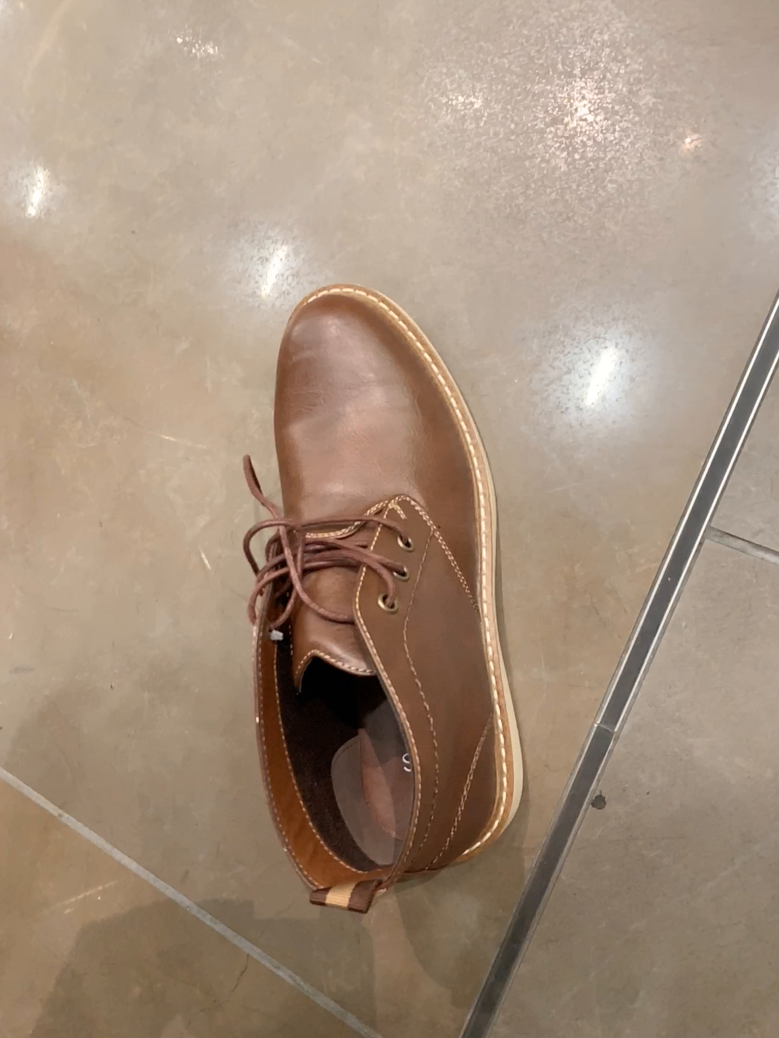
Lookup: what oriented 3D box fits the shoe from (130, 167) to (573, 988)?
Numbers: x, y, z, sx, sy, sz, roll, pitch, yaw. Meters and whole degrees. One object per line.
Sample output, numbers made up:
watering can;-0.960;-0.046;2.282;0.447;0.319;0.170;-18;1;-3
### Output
shoe;-0.013;0.024;0.358;0.107;0.120;0.295;-14;81;19
